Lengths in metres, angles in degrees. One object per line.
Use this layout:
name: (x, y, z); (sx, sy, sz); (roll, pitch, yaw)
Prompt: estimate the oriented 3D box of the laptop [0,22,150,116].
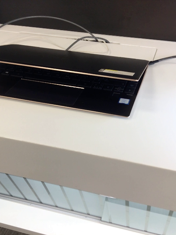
laptop: (-0.071, -0.117, 0.481); (0.343, 0.073, 0.198); (11, 44, 13)
